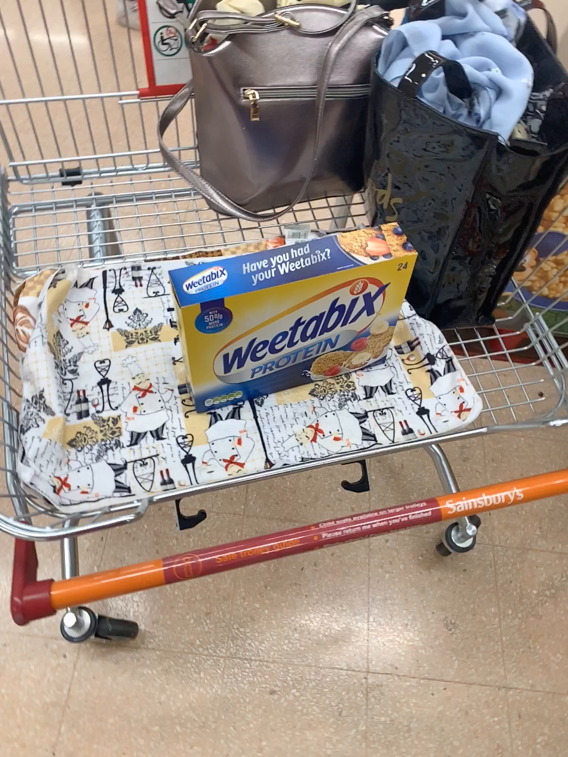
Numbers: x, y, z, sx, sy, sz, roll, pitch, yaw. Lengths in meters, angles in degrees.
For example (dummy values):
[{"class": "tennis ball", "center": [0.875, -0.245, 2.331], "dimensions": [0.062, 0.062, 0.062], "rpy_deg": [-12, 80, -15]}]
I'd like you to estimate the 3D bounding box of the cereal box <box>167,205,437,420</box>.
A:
[{"class": "cereal box", "center": [0.016, -0.068, 0.642], "dimensions": [0.260, 0.199, 0.060], "rpy_deg": [-16, 56, -15]}]
